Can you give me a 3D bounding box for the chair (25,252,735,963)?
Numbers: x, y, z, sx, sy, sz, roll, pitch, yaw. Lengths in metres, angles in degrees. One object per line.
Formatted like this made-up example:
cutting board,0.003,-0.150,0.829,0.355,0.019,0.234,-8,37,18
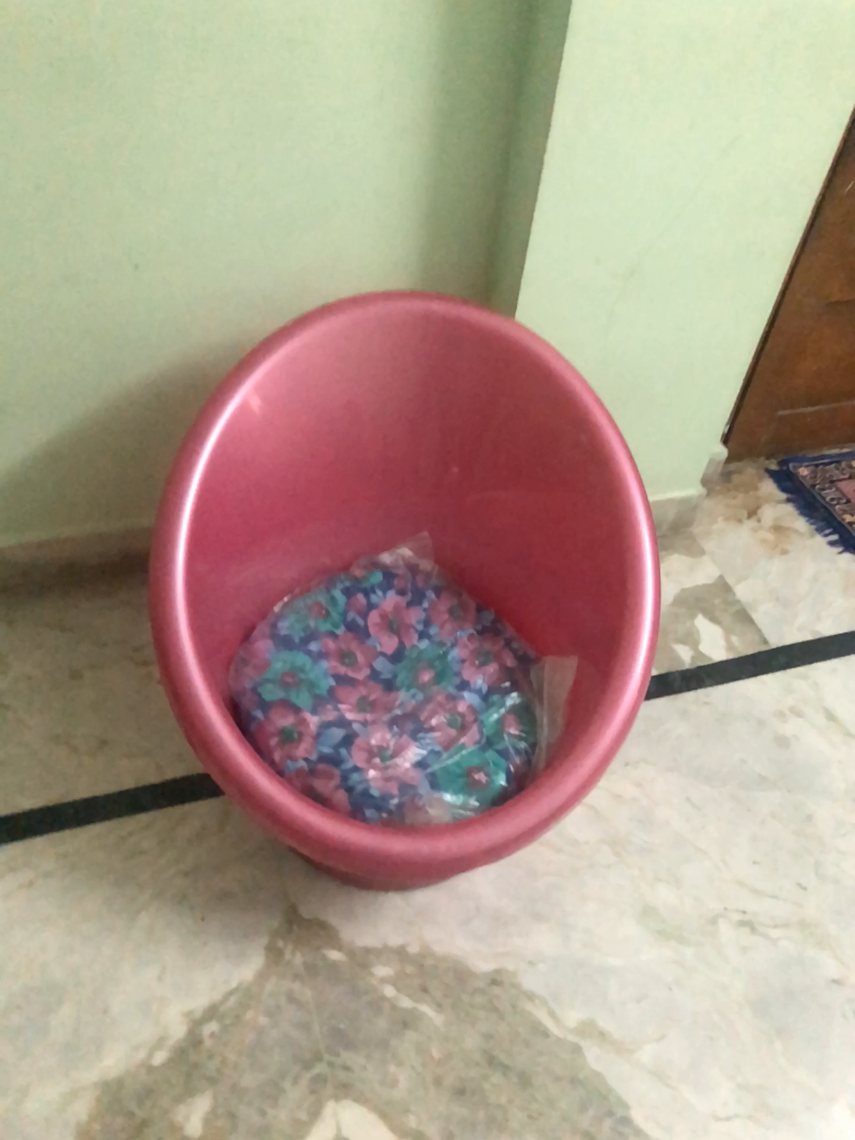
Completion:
chair,-0.026,0.030,1.262,0.640,0.547,0.664,9,45,2
